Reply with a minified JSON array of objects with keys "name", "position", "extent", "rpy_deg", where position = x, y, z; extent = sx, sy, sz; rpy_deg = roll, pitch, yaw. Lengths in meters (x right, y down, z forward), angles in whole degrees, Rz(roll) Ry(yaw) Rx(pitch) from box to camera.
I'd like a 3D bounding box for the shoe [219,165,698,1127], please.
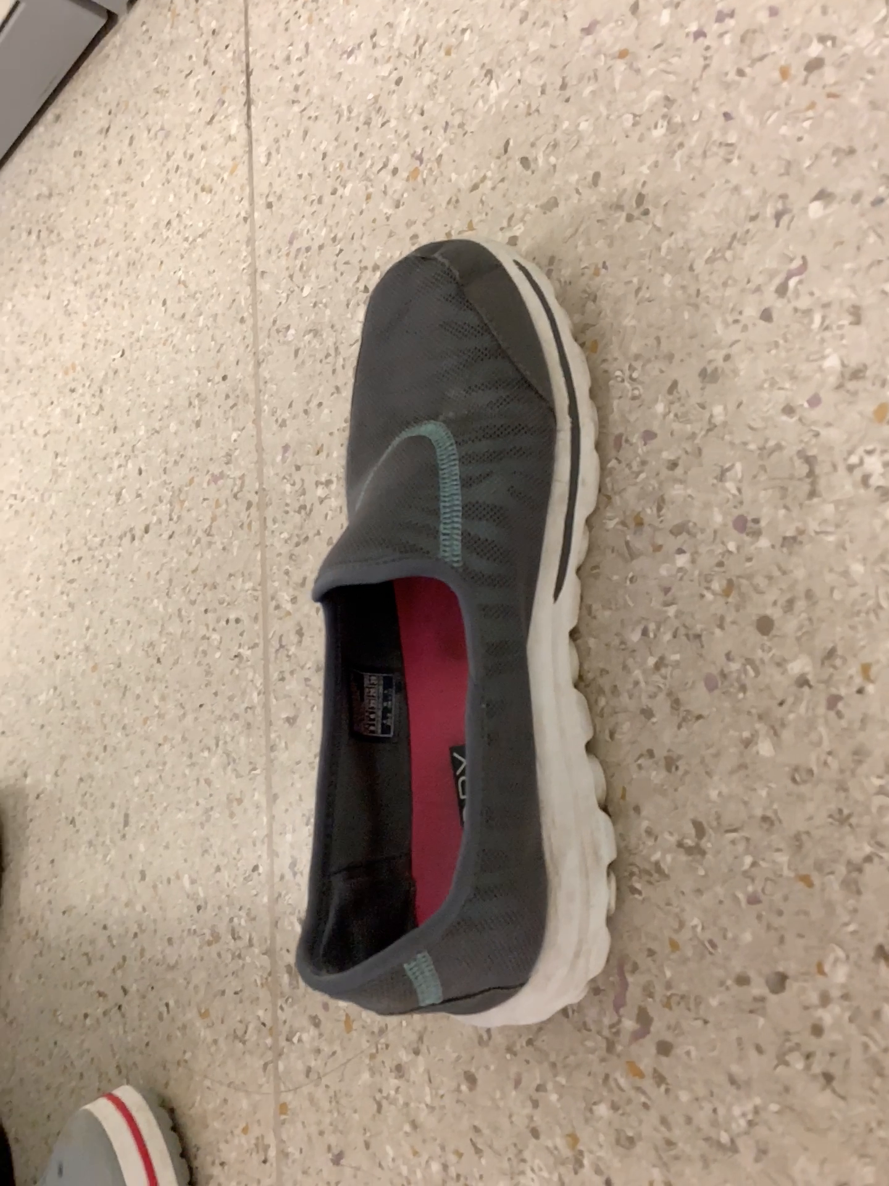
[{"name":"shoe","position":[-0.005,0.014,0.284],"extent":[0.103,0.075,0.239],"rpy_deg":[-17,73,43]}]
